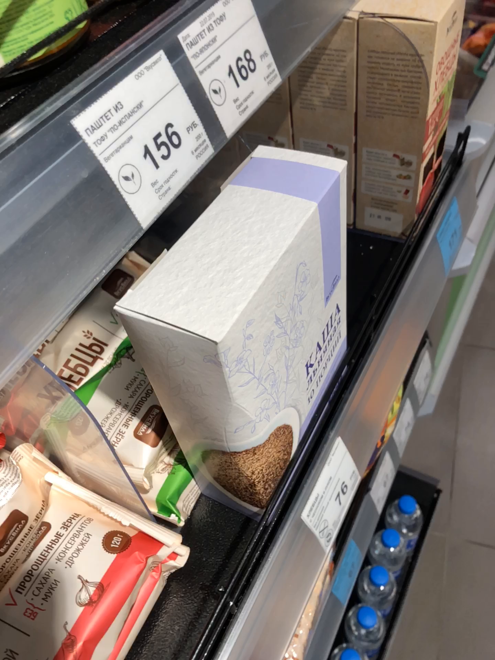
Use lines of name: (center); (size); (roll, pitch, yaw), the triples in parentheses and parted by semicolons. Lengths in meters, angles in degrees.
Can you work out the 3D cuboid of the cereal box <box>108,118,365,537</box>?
cereal box: (0.015, 0.007, 0.318); (0.050, 0.189, 0.151); (18, 56, 24)
